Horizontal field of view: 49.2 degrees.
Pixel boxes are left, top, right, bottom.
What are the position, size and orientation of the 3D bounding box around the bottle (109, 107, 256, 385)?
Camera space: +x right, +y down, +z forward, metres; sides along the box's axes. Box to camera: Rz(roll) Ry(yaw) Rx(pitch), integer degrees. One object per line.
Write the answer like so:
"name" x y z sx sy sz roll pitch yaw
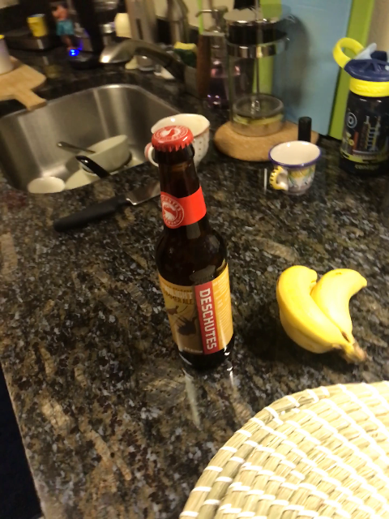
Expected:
"bottle" 0.001 0.001 0.317 0.060 0.199 0.060 -5 41 4
